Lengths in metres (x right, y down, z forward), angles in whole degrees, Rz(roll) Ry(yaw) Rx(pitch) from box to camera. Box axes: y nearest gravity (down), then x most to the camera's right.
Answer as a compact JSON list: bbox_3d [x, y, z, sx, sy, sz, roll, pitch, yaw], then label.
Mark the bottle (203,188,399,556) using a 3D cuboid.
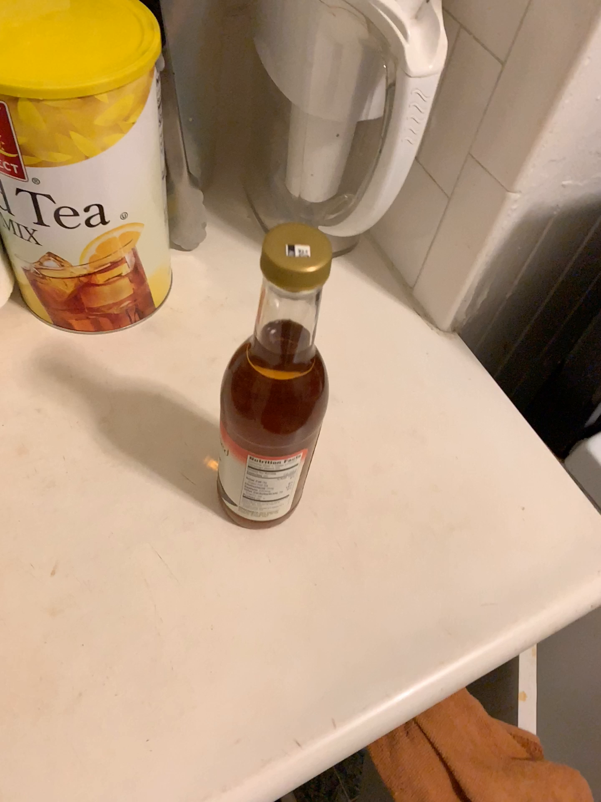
[{"bbox_3d":[-0.015,0.008,0.344,0.070,0.239,0.070,4,56,-7],"label":"bottle"}]
